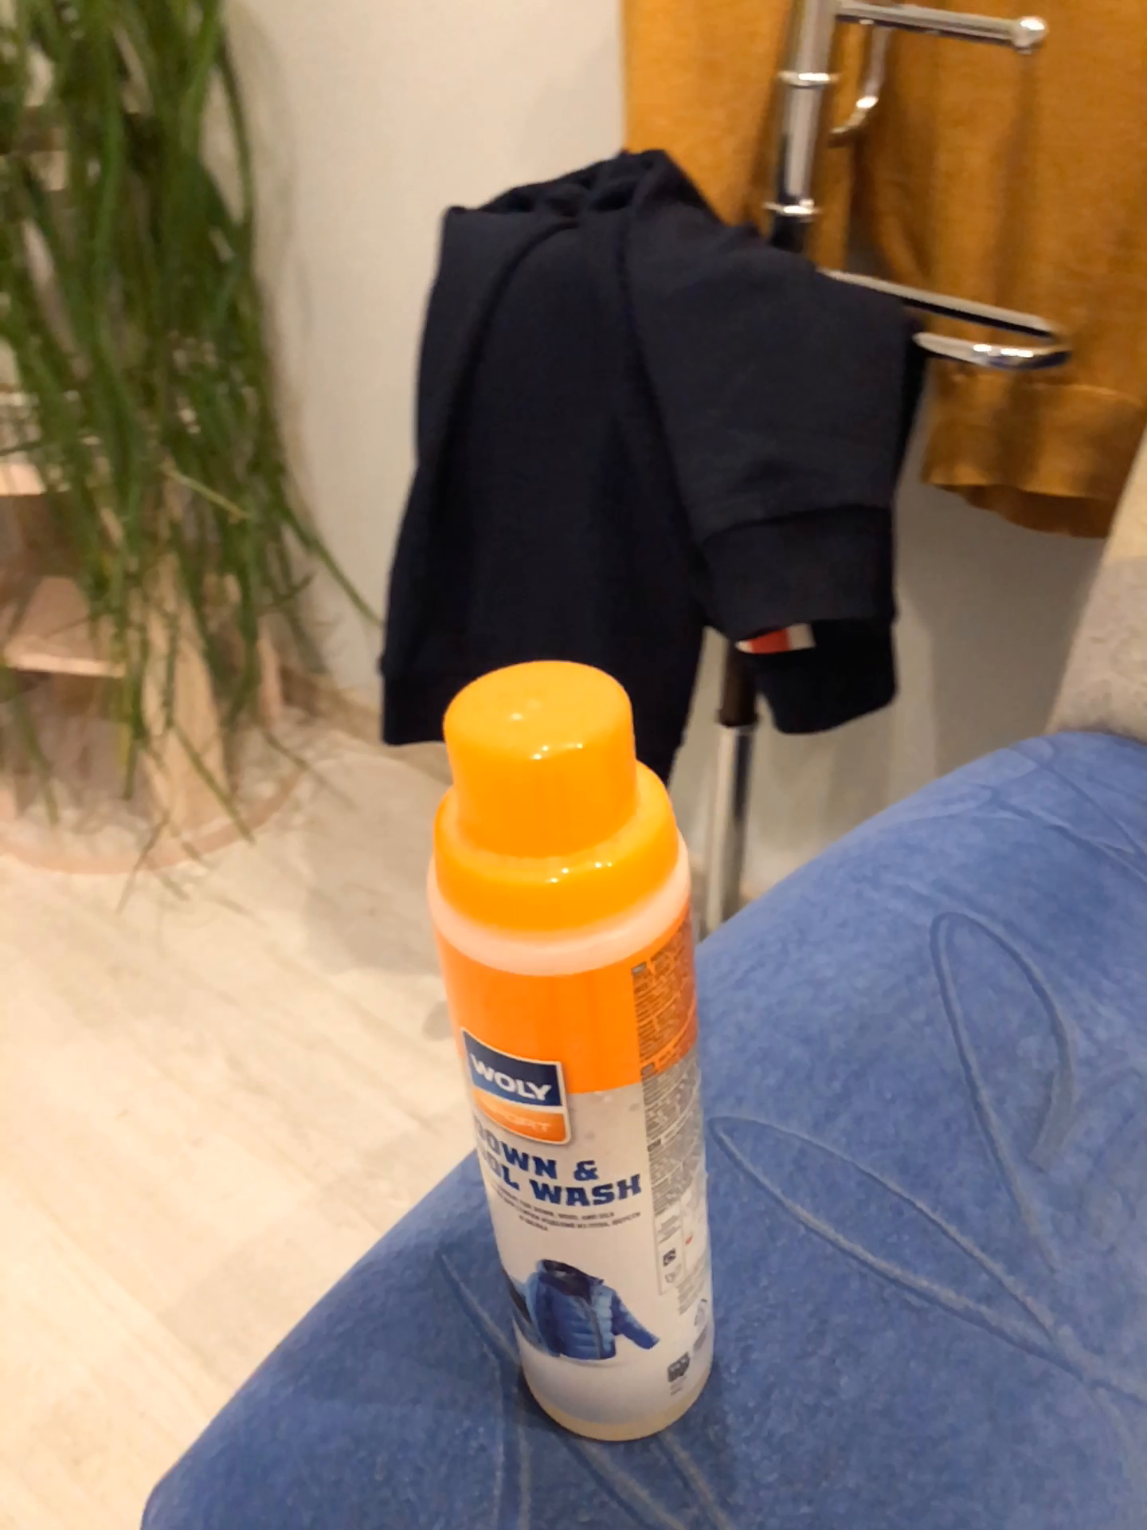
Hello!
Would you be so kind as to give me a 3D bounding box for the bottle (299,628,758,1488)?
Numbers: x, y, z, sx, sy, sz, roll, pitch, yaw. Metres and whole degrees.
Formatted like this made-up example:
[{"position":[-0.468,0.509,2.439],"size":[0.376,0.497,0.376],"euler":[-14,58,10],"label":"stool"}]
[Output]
[{"position":[0.001,0.070,0.266],"size":[0.052,0.188,0.052],"euler":[-5,36,4],"label":"bottle"}]
